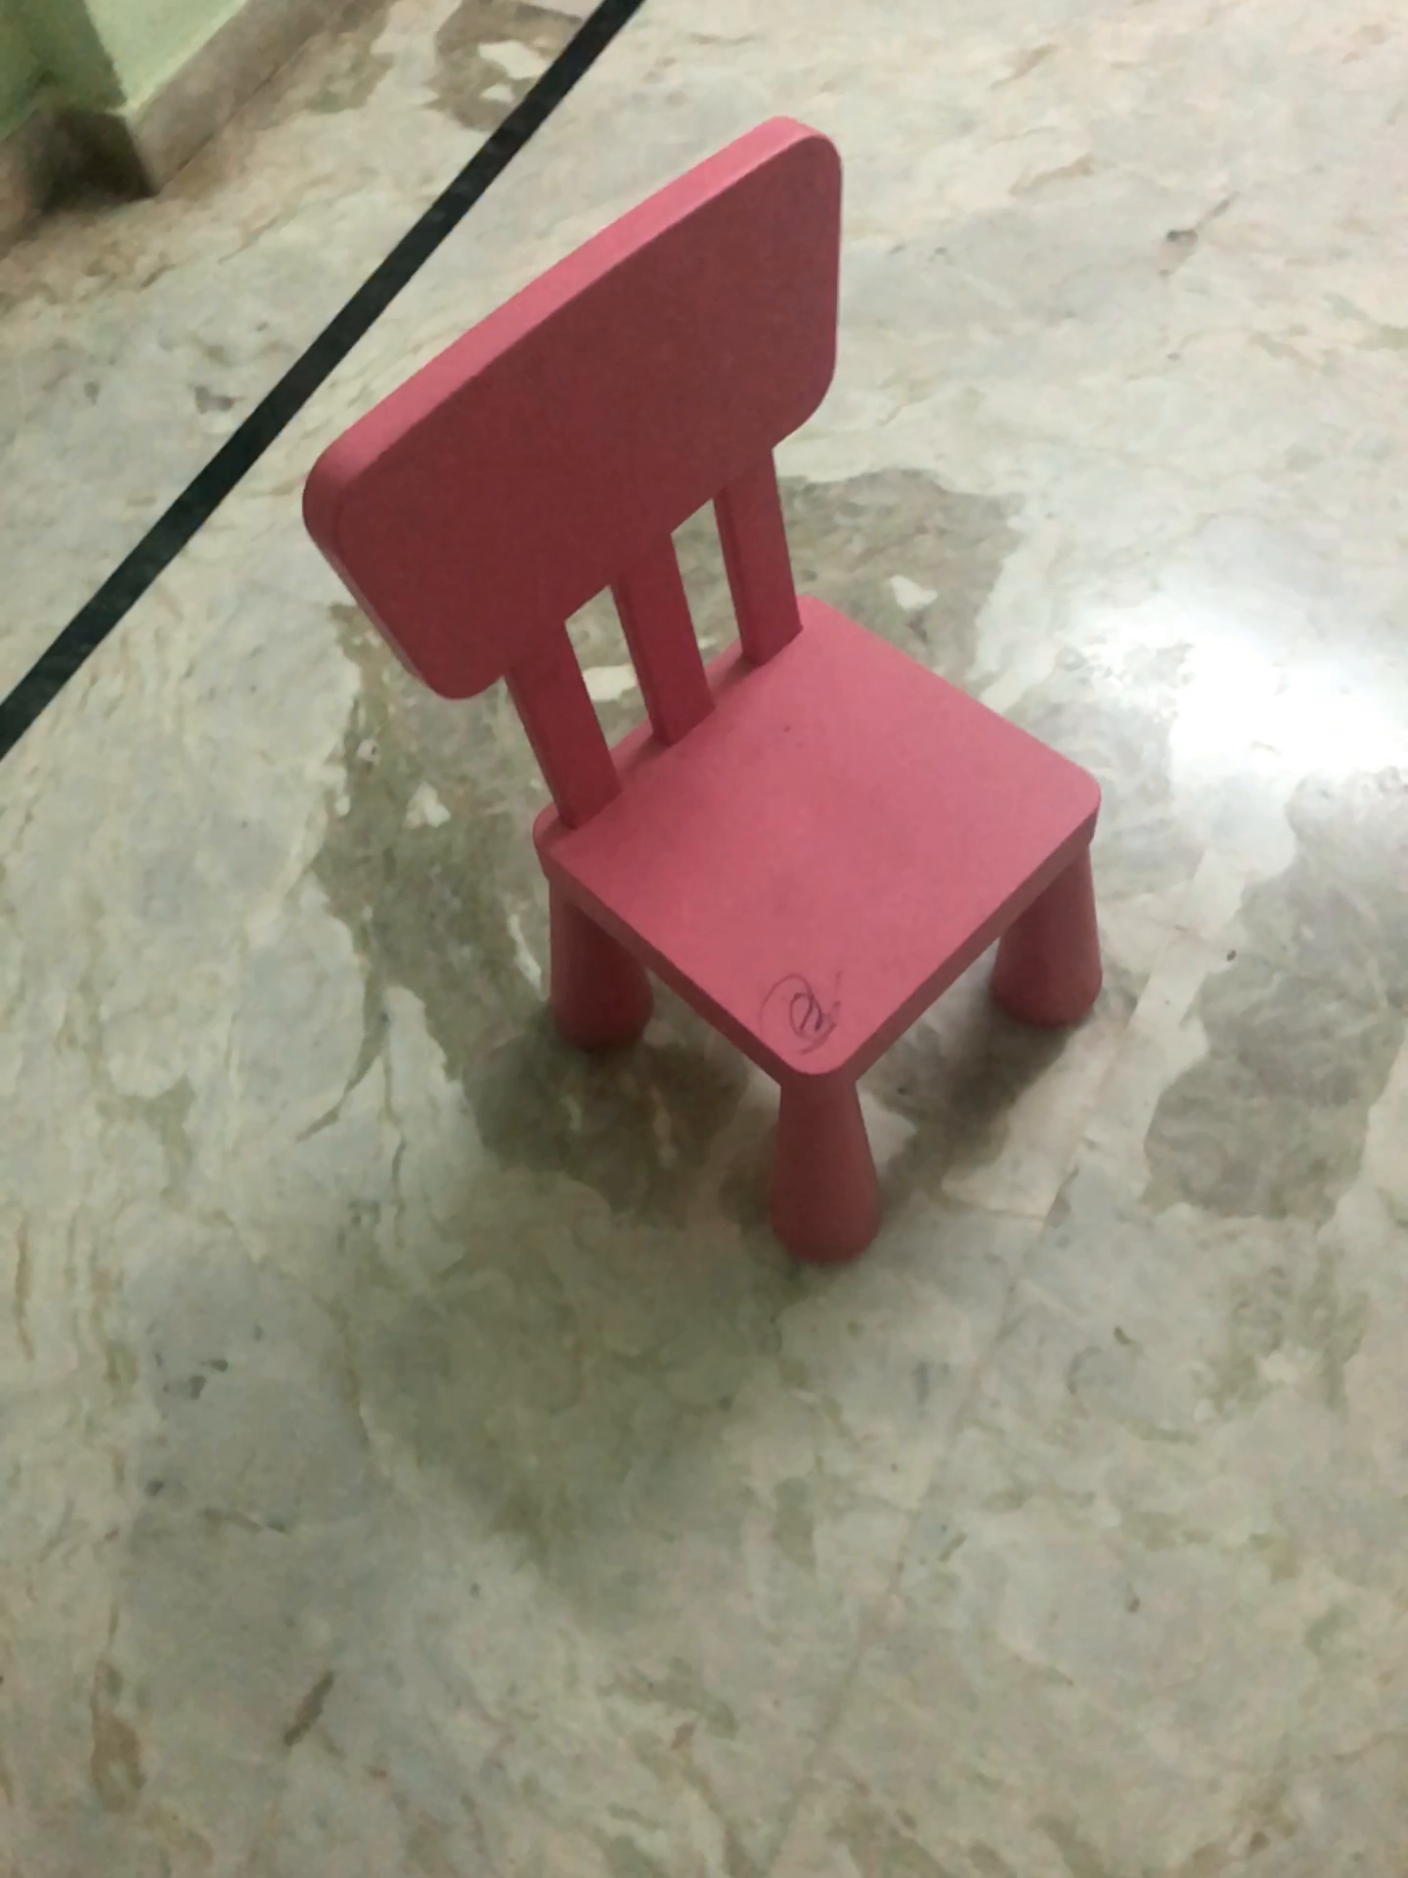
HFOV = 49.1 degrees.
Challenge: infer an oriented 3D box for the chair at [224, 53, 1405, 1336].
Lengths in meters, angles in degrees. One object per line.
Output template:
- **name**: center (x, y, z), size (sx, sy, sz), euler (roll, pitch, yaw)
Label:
- **chair**: center (0.071, -0.098, 0.995), size (0.381, 0.627, 0.401), euler (39, 71, 22)
